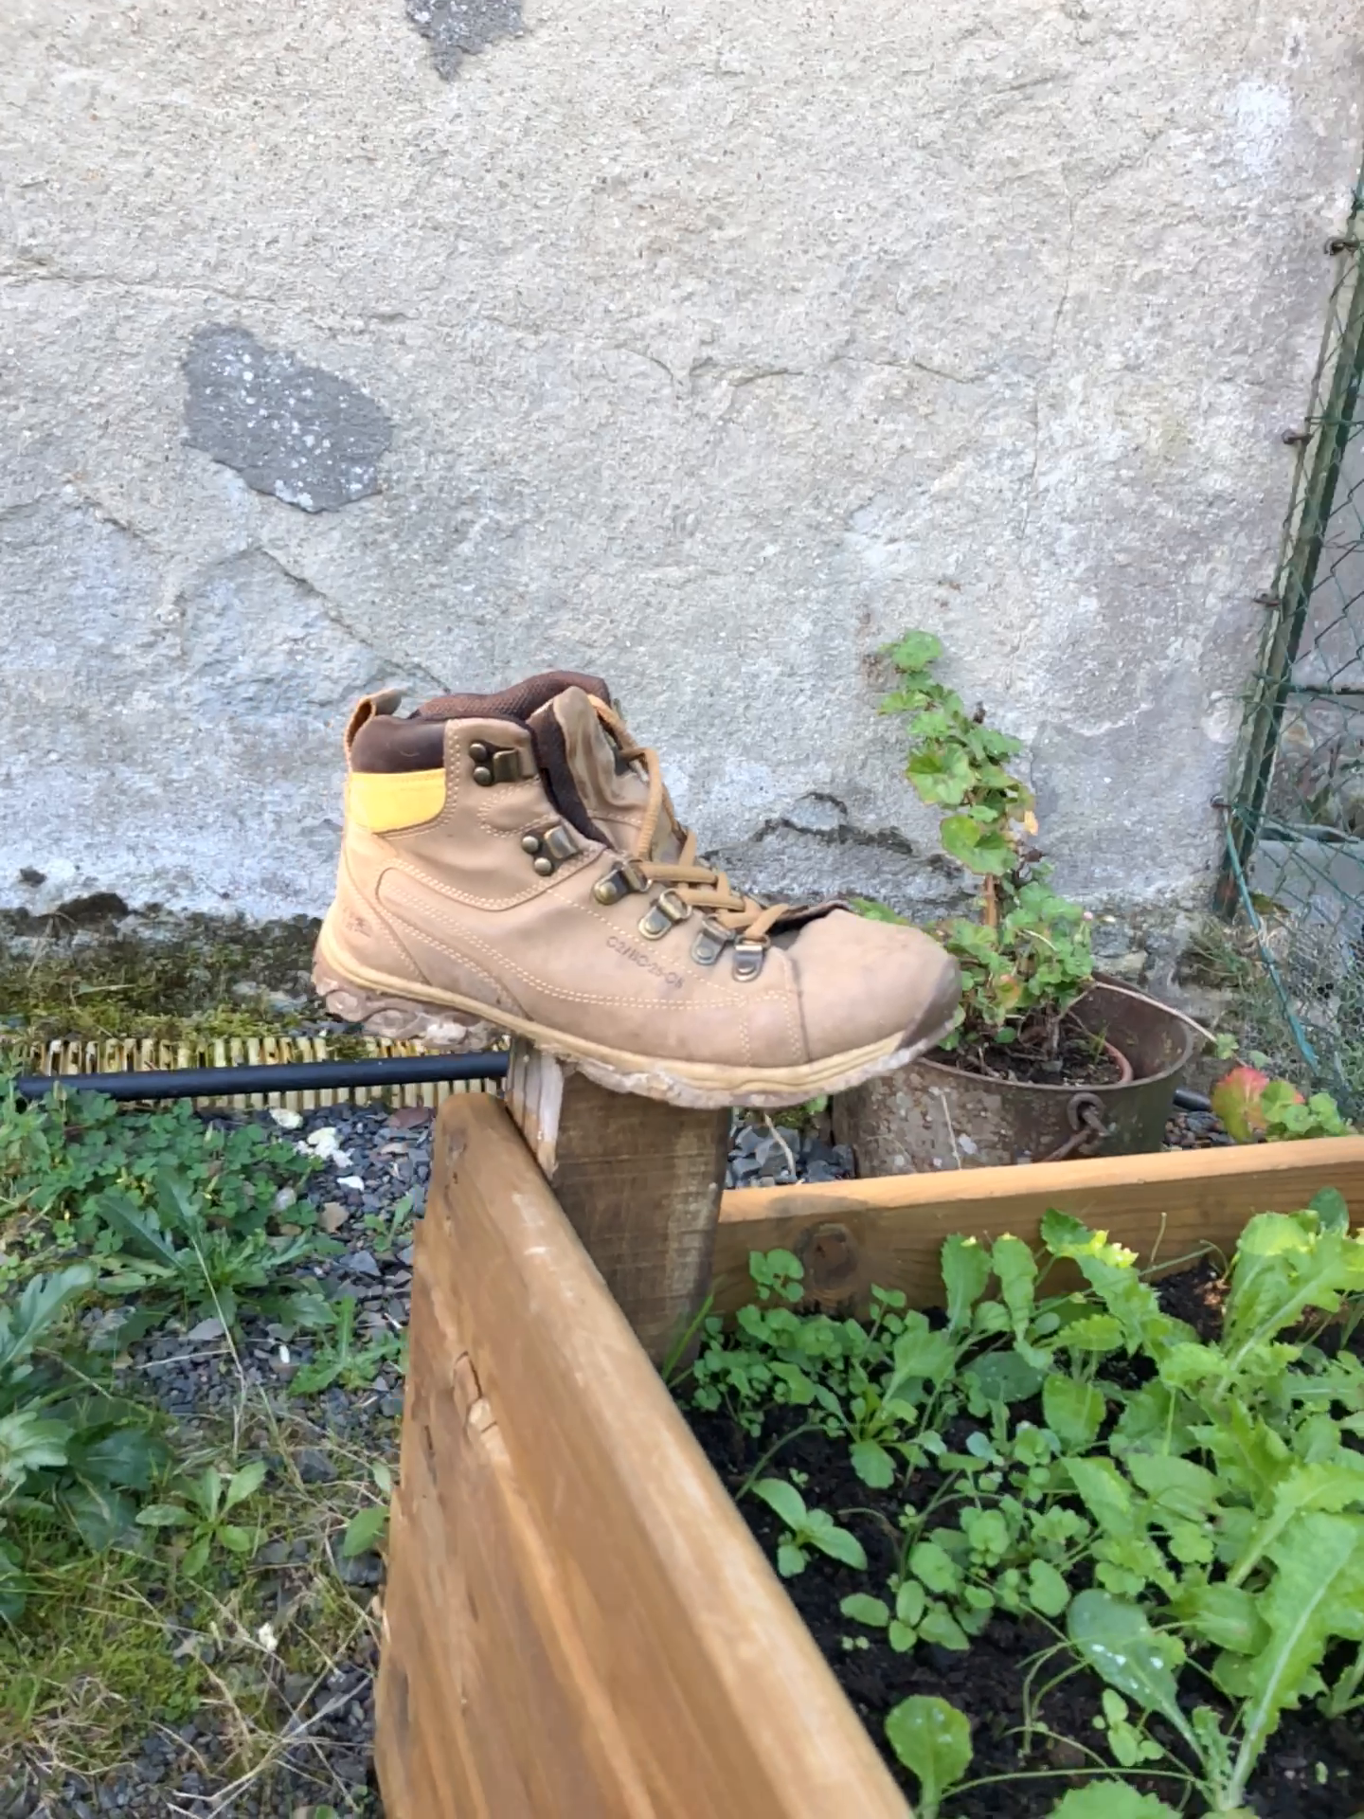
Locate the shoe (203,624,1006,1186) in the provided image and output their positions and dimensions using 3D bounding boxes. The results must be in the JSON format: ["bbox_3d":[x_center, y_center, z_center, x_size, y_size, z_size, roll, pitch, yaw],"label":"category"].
[{"bbox_3d":[-0.032,-0.013,0.575,0.280,0.149,0.101,10,19,16],"label":"shoe"}]
